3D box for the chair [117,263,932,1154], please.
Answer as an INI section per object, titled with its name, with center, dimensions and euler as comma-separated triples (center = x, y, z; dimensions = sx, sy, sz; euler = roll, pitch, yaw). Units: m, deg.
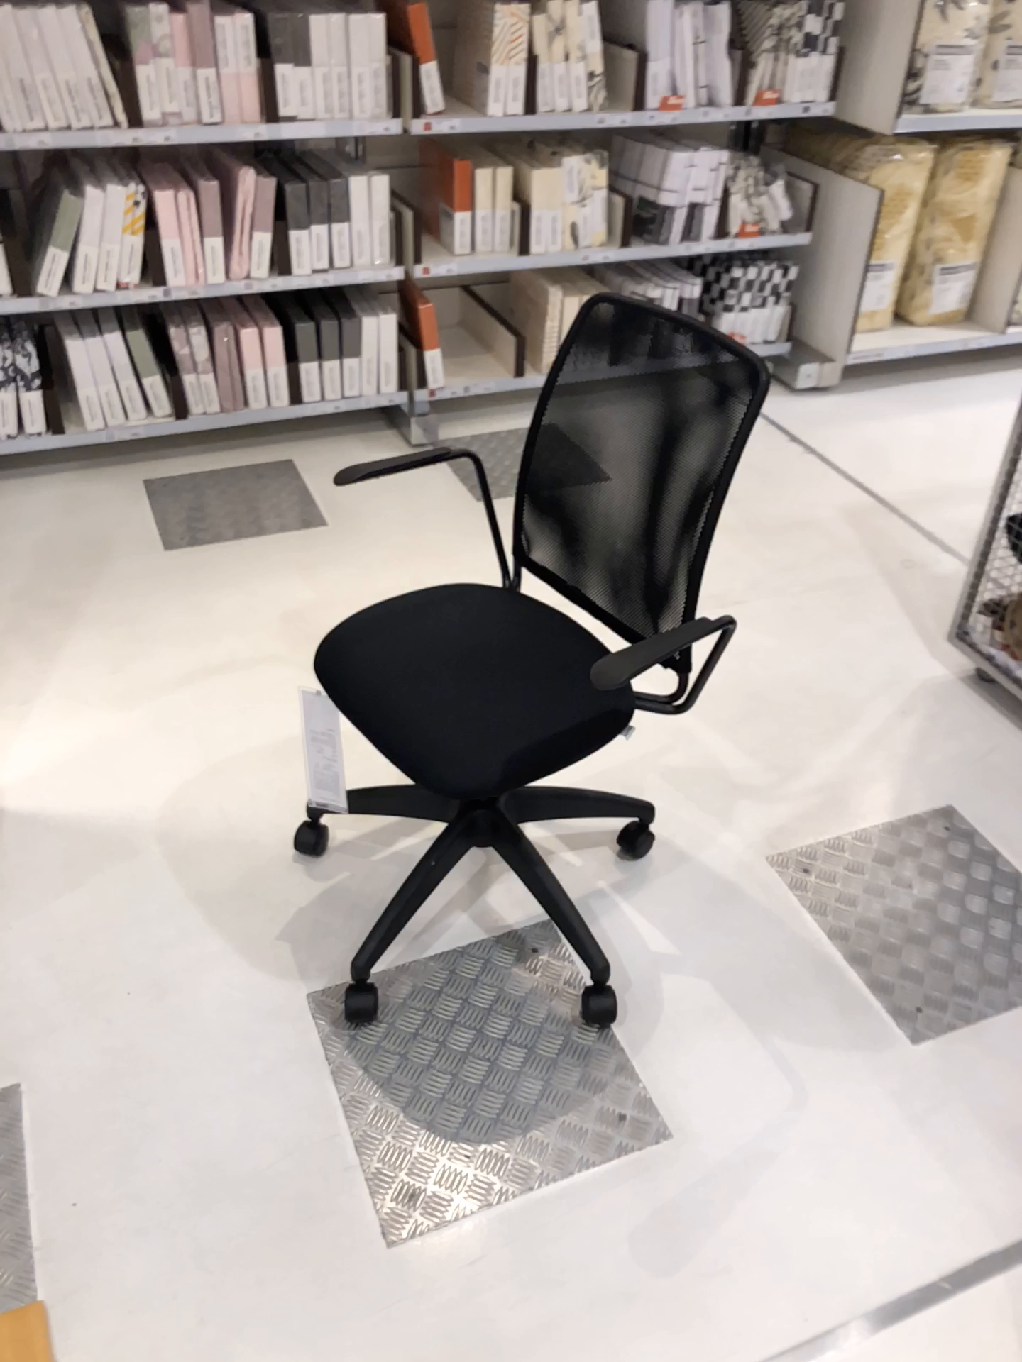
[chair]
center = -0.006, -0.016, 1.521
dimensions = 0.692, 0.814, 0.633
euler = -23, 43, -30
